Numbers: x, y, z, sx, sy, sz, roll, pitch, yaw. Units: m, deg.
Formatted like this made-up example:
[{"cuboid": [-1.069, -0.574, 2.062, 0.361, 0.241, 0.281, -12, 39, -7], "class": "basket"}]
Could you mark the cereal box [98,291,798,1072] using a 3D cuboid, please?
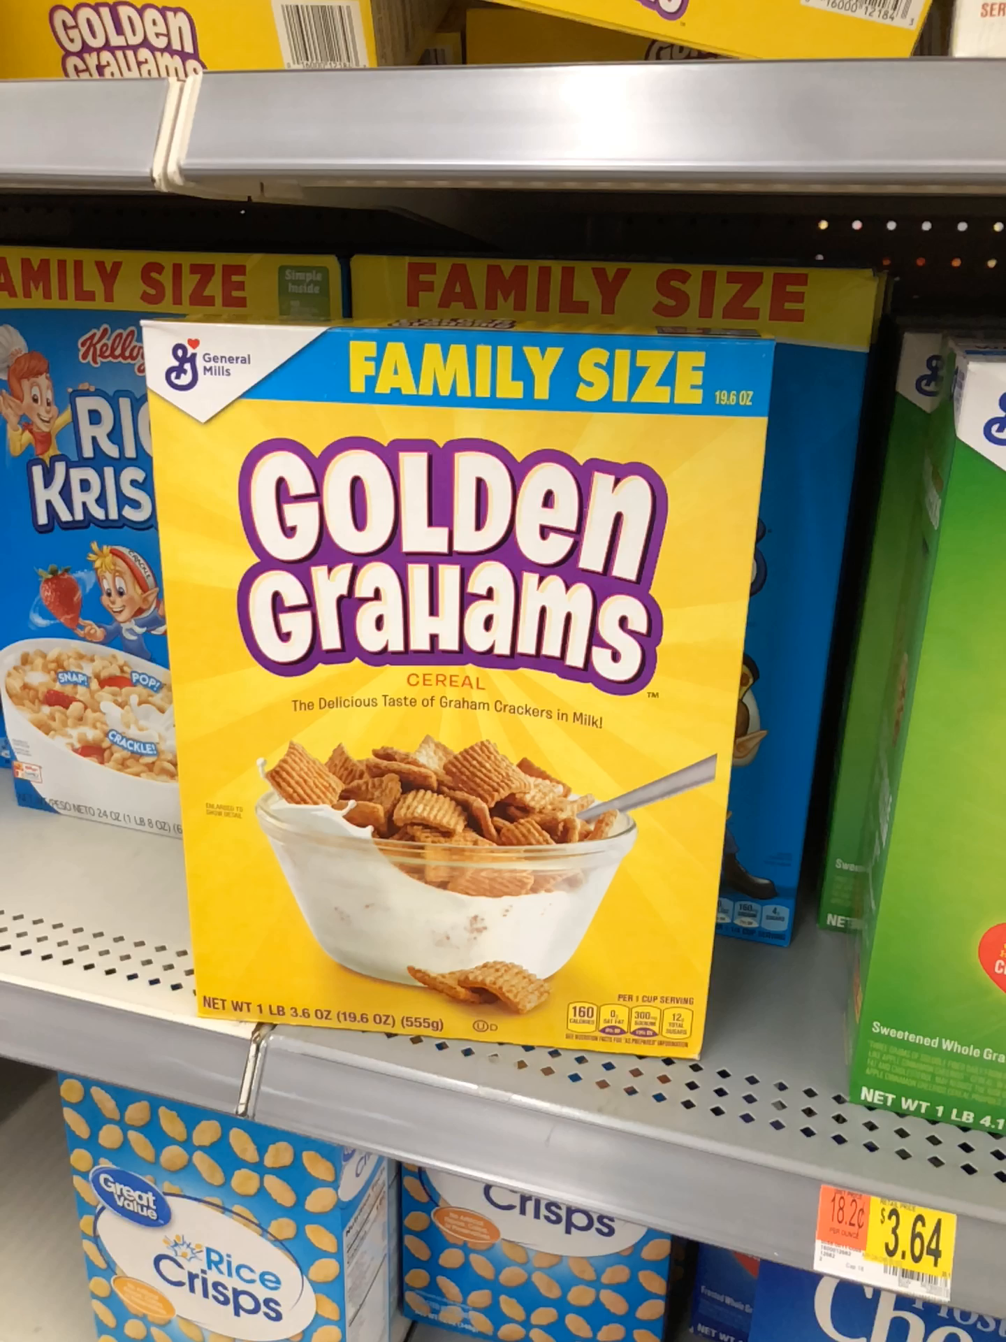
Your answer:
[{"cuboid": [-0.022, 0.009, 0.467, 0.240, 0.309, 0.070, 3, 22, 5], "class": "cereal box"}]
